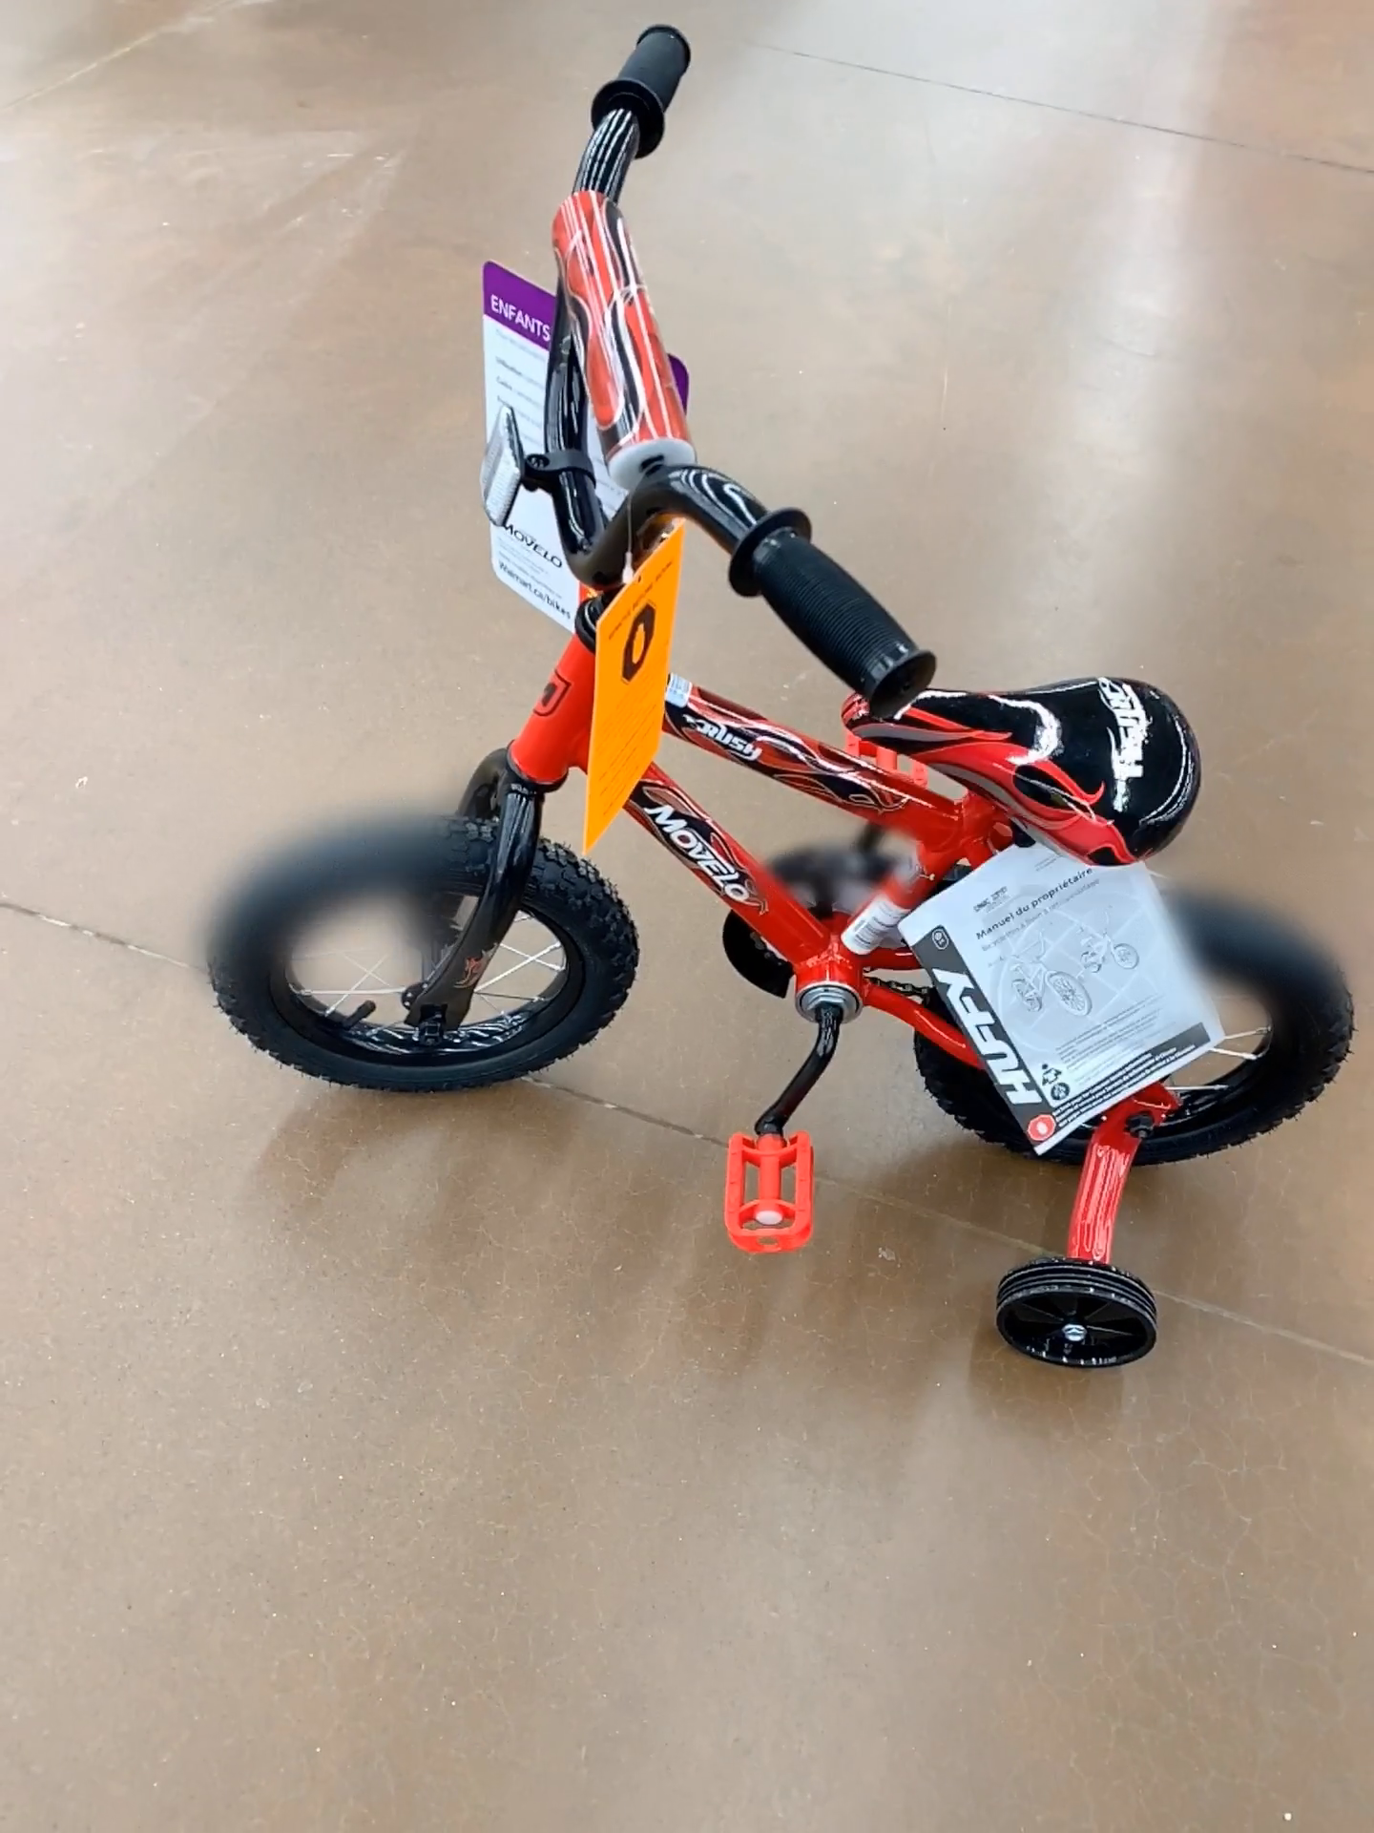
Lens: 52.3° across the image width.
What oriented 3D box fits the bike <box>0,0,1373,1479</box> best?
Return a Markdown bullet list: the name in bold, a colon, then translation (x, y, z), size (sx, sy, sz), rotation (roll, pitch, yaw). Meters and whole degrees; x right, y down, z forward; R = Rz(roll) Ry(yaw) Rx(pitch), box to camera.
- **bike**: translation (0.076, -0.077, 0.734), size (0.735, 0.604, 0.441), rotation (7, 47, -4)
